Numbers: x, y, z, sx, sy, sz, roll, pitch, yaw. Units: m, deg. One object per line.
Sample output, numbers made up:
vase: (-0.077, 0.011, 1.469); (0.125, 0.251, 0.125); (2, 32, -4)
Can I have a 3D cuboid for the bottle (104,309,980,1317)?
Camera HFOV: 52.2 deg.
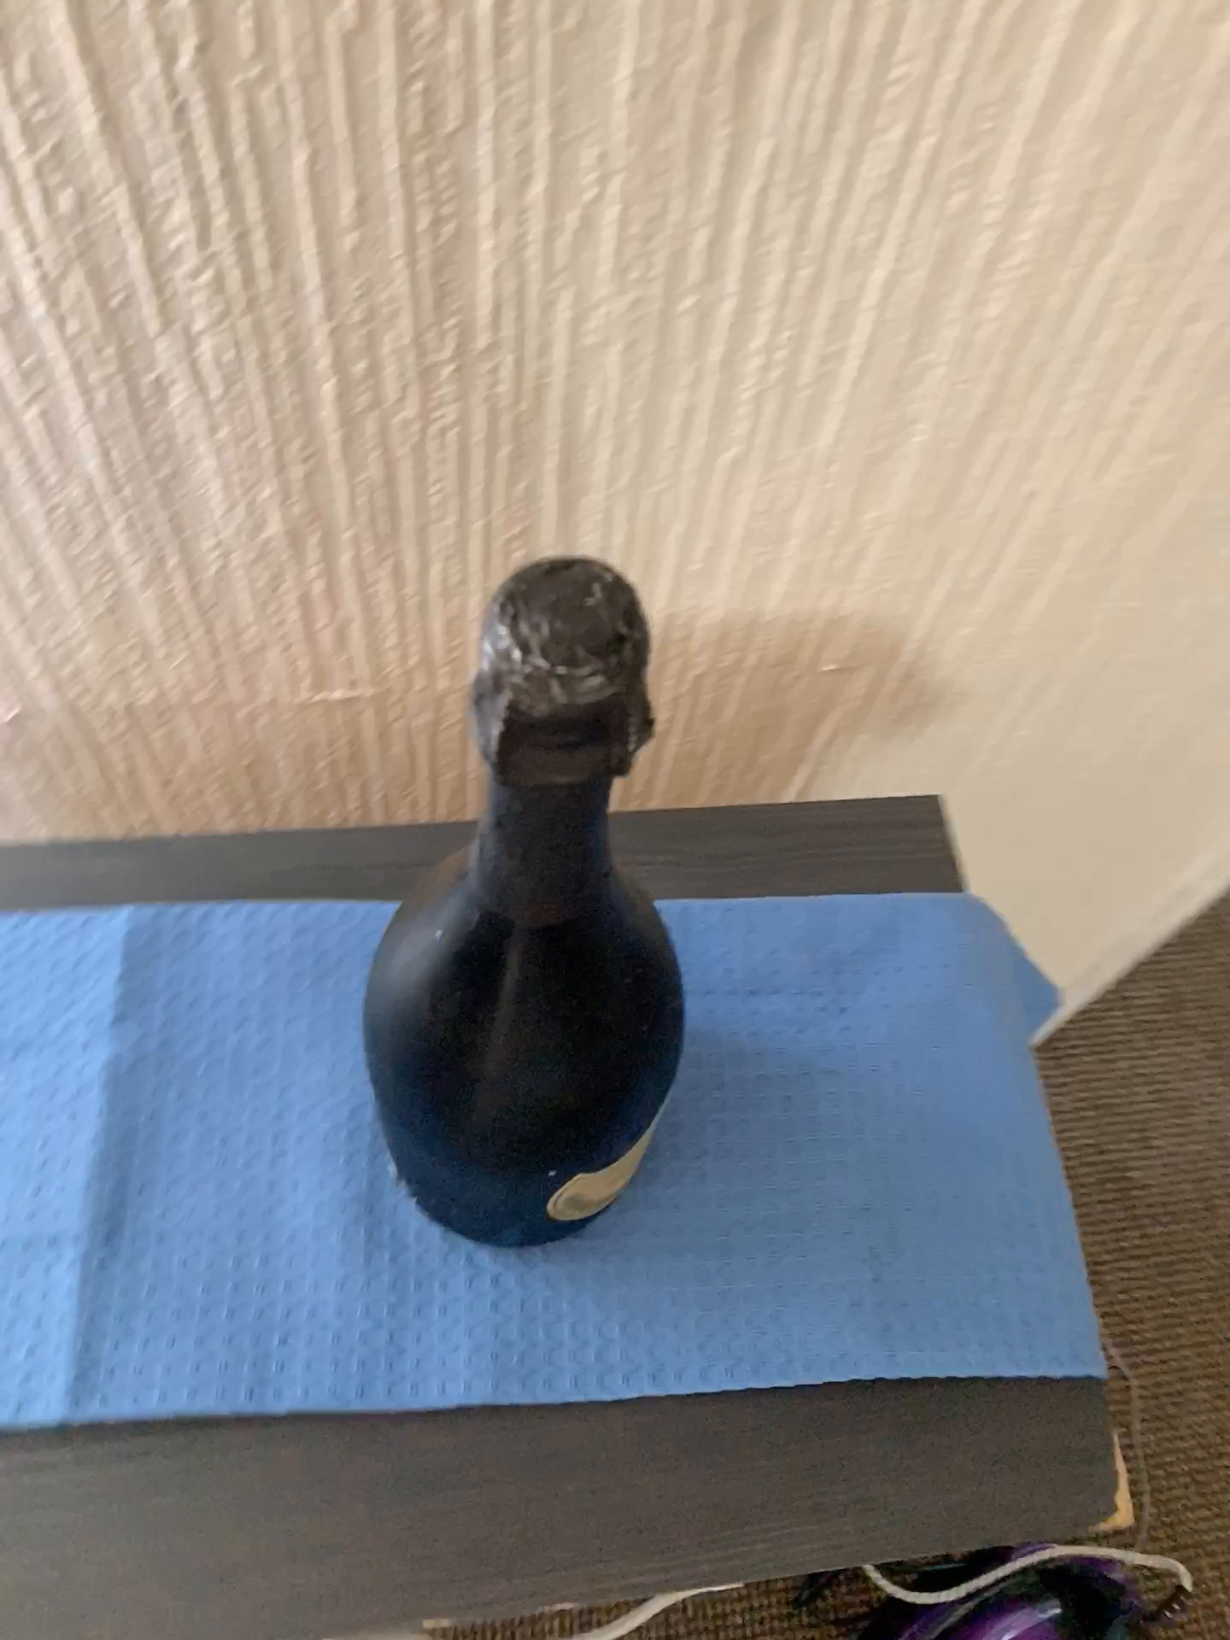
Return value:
bottle: (-0.023, 0.037, 0.332); (0.100, 0.298, 0.101); (3, 61, -5)
